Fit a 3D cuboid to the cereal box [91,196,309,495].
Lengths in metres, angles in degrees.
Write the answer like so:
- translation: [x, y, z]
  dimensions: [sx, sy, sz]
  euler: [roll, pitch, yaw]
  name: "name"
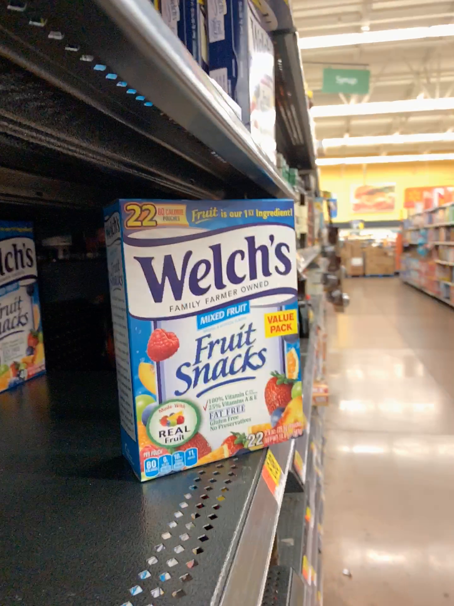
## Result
- translation: [-0.019, 0.025, 0.424]
  dimensions: [0.170, 0.230, 0.060]
  euler: [-7, 7, -27]
  name: "cereal box"
